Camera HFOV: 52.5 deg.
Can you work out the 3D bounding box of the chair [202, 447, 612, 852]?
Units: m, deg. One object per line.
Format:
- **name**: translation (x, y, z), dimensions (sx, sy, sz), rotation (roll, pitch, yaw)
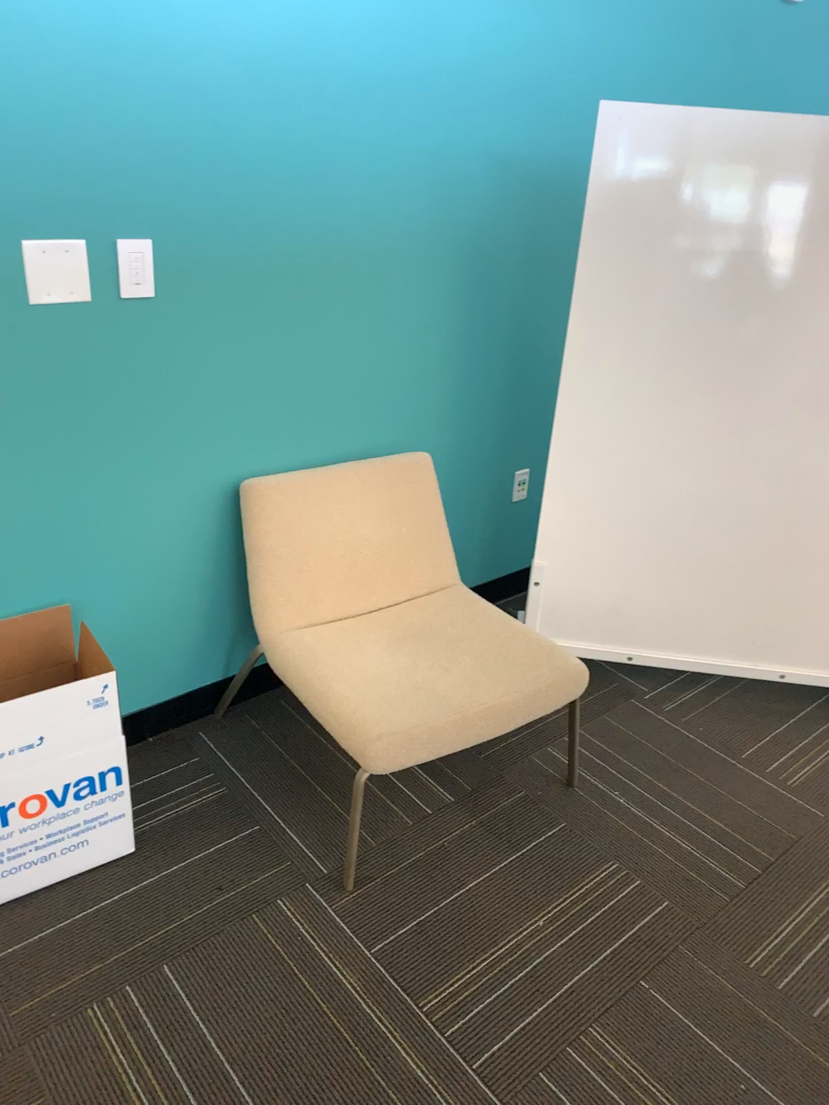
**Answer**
- **chair**: translation (-0.056, 0.162, 2.087), dimensions (0.661, 0.567, 0.733), rotation (-14, 31, -33)
